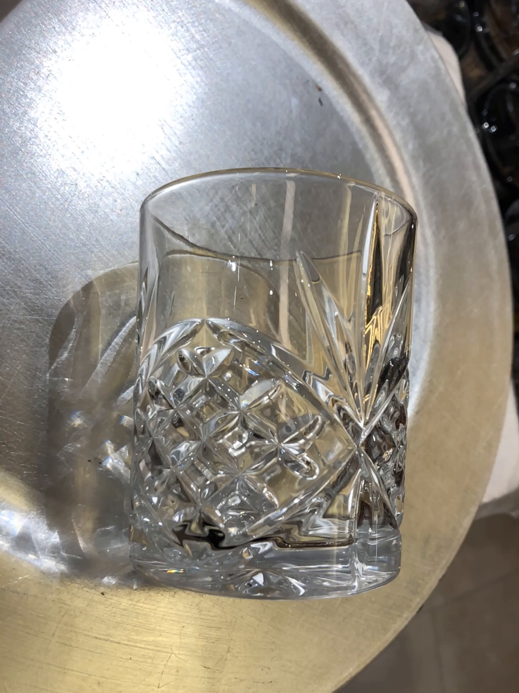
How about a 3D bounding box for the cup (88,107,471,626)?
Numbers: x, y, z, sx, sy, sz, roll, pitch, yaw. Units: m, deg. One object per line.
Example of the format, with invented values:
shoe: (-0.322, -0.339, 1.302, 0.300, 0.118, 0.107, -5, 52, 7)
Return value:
cup: (0.006, 0.008, 0.159, 0.080, 0.060, 0.100, 7, 81, -31)
